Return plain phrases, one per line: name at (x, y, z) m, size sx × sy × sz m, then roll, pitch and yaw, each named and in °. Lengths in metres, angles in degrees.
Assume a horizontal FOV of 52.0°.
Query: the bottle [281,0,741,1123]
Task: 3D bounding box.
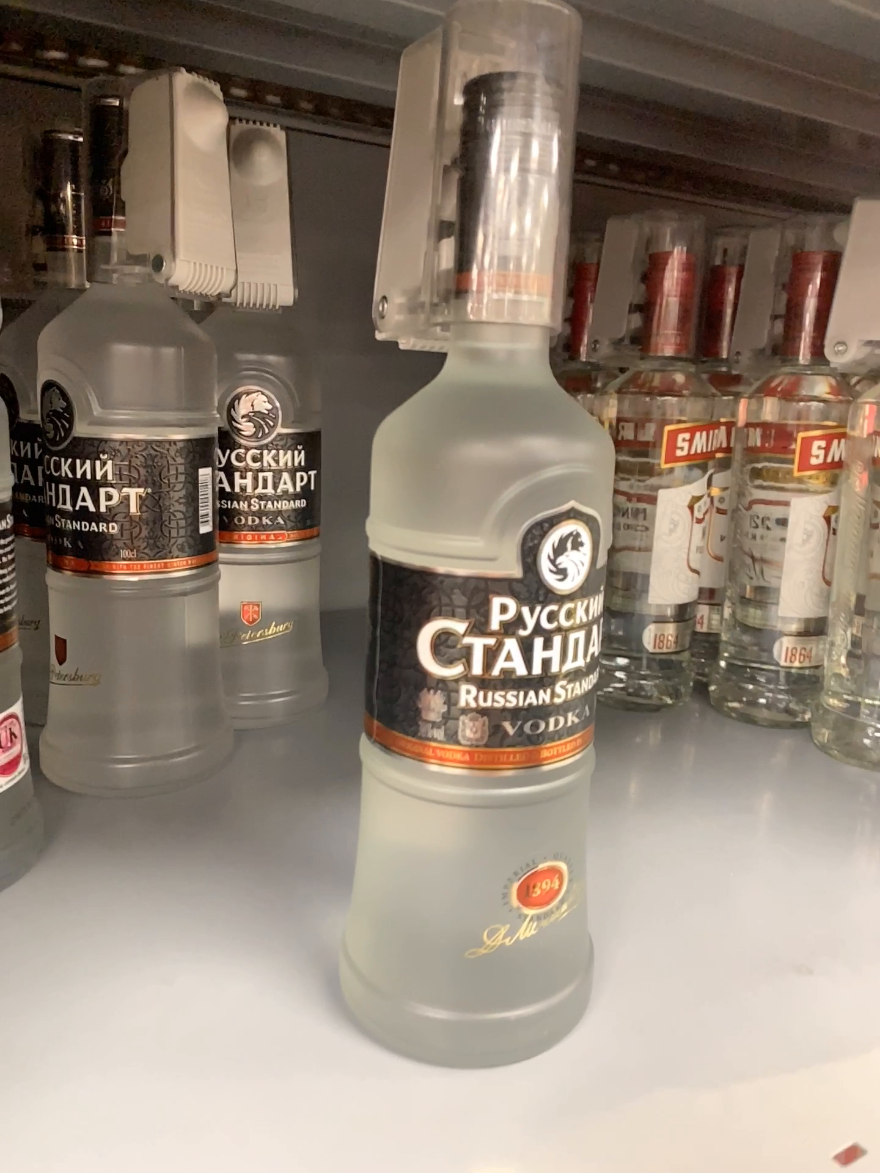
bottle at (0.010, -0.009, 0.275) m, size 0.092 × 0.289 × 0.088 m, roll 2°, pitch 12°, yaw 0°
